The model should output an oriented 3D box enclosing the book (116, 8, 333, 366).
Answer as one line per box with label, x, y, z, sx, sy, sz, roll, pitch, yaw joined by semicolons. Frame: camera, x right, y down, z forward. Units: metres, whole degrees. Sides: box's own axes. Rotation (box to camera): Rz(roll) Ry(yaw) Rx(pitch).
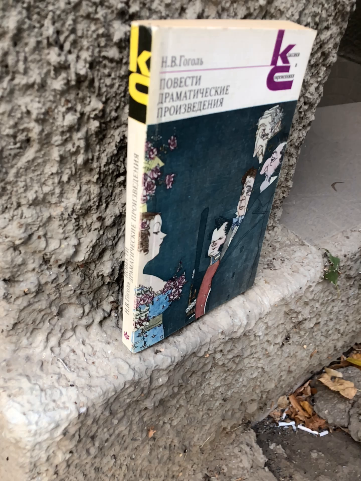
book;0.024;-0.032;0.252;0.030;0.190;0.138;30;38;34
